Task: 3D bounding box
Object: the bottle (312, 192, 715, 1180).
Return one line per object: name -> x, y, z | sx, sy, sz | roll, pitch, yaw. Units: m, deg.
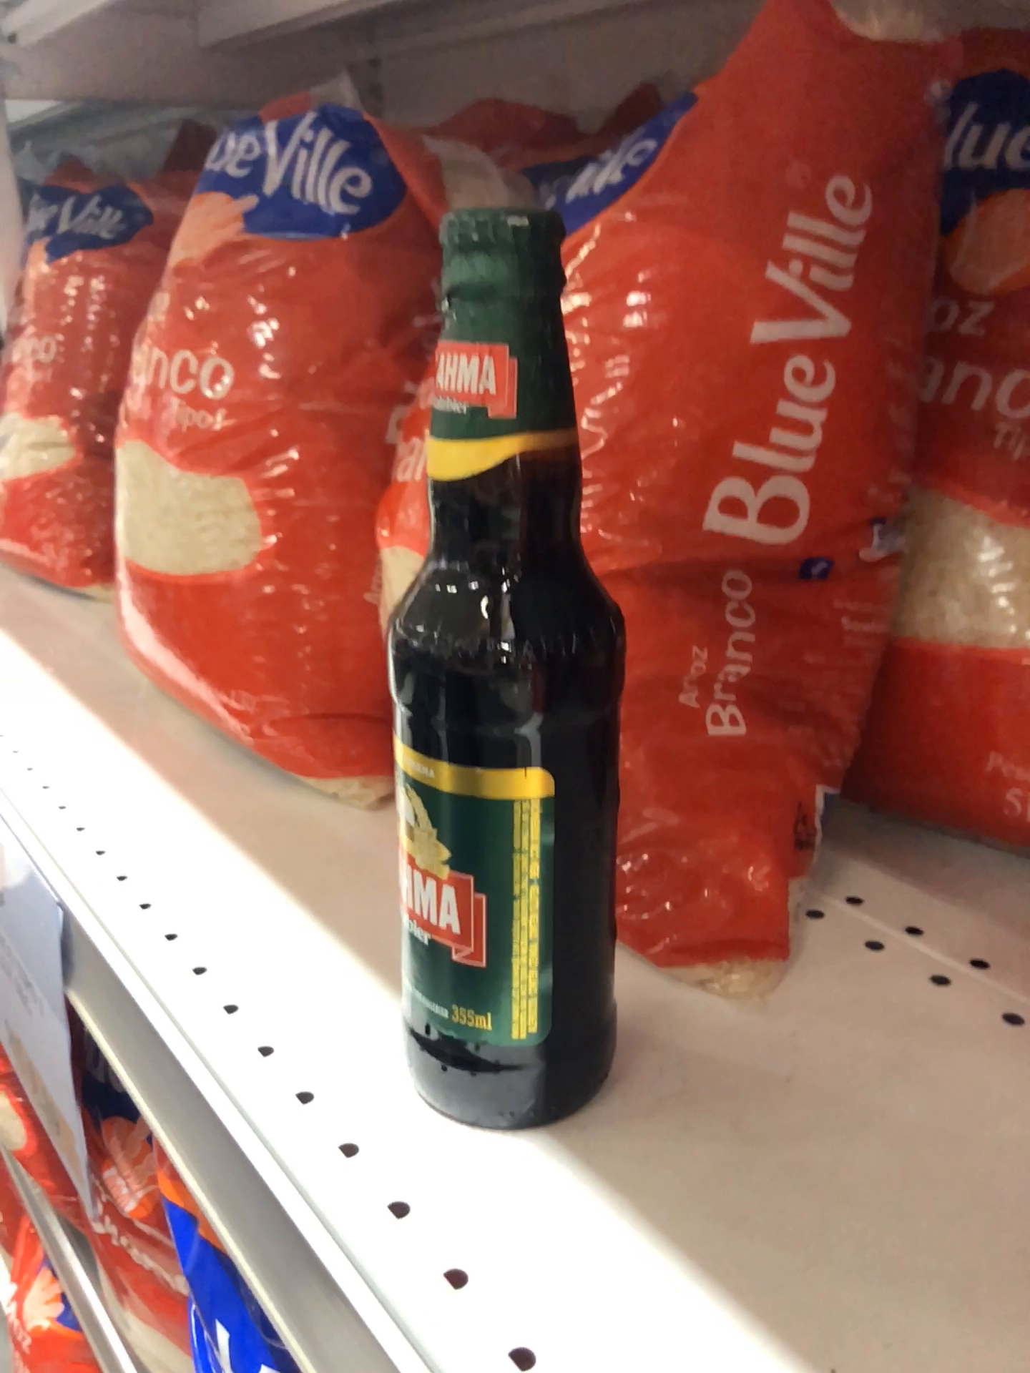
bottle -> 0.001, 0.001, 0.292 | 0.060, 0.228, 0.070 | -15, 24, -30
